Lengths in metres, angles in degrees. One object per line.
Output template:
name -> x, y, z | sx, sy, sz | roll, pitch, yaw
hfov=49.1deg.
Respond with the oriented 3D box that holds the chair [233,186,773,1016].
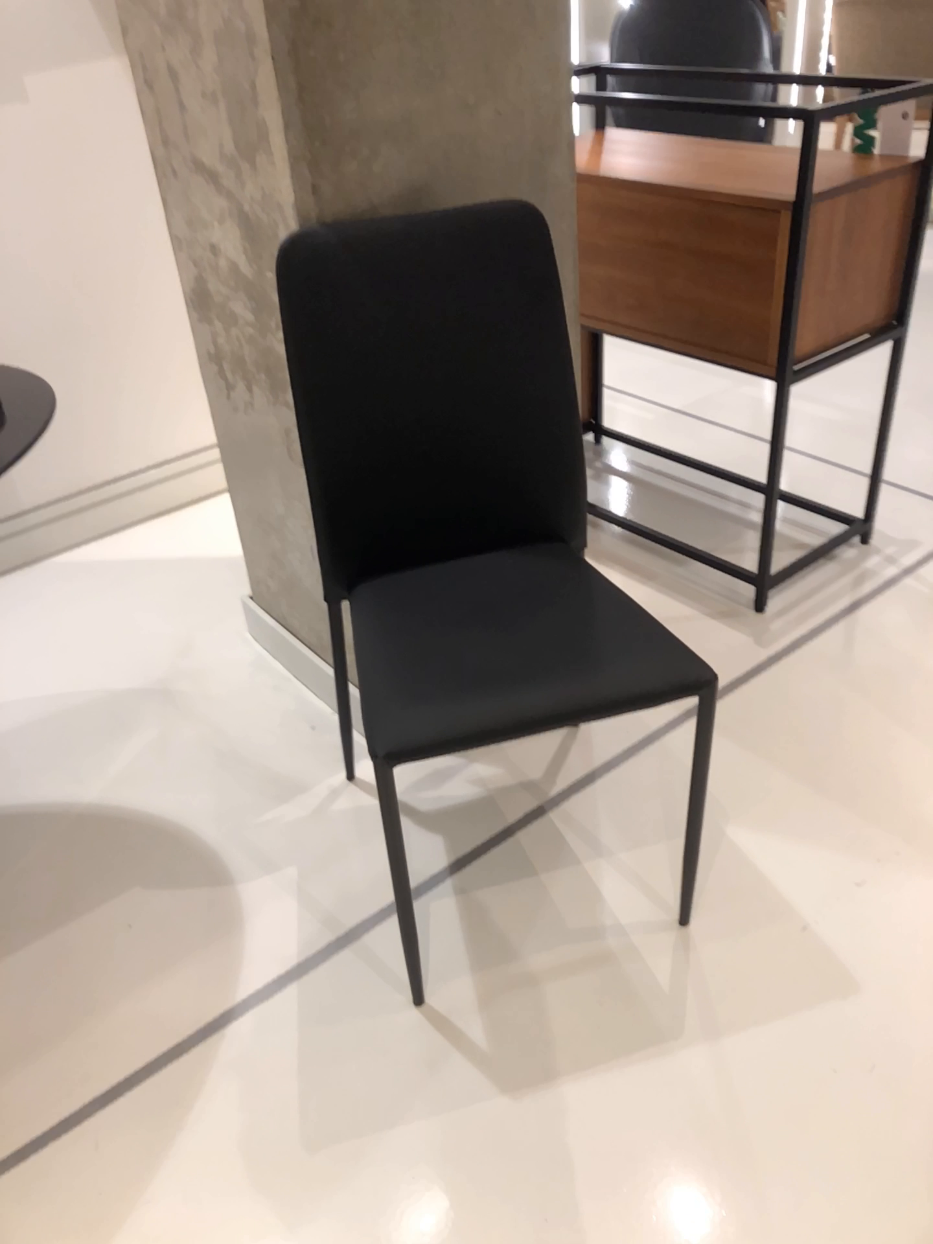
chair -> 0.027, -0.037, 1.372 | 0.470, 0.883, 0.544 | -12, 34, -9
